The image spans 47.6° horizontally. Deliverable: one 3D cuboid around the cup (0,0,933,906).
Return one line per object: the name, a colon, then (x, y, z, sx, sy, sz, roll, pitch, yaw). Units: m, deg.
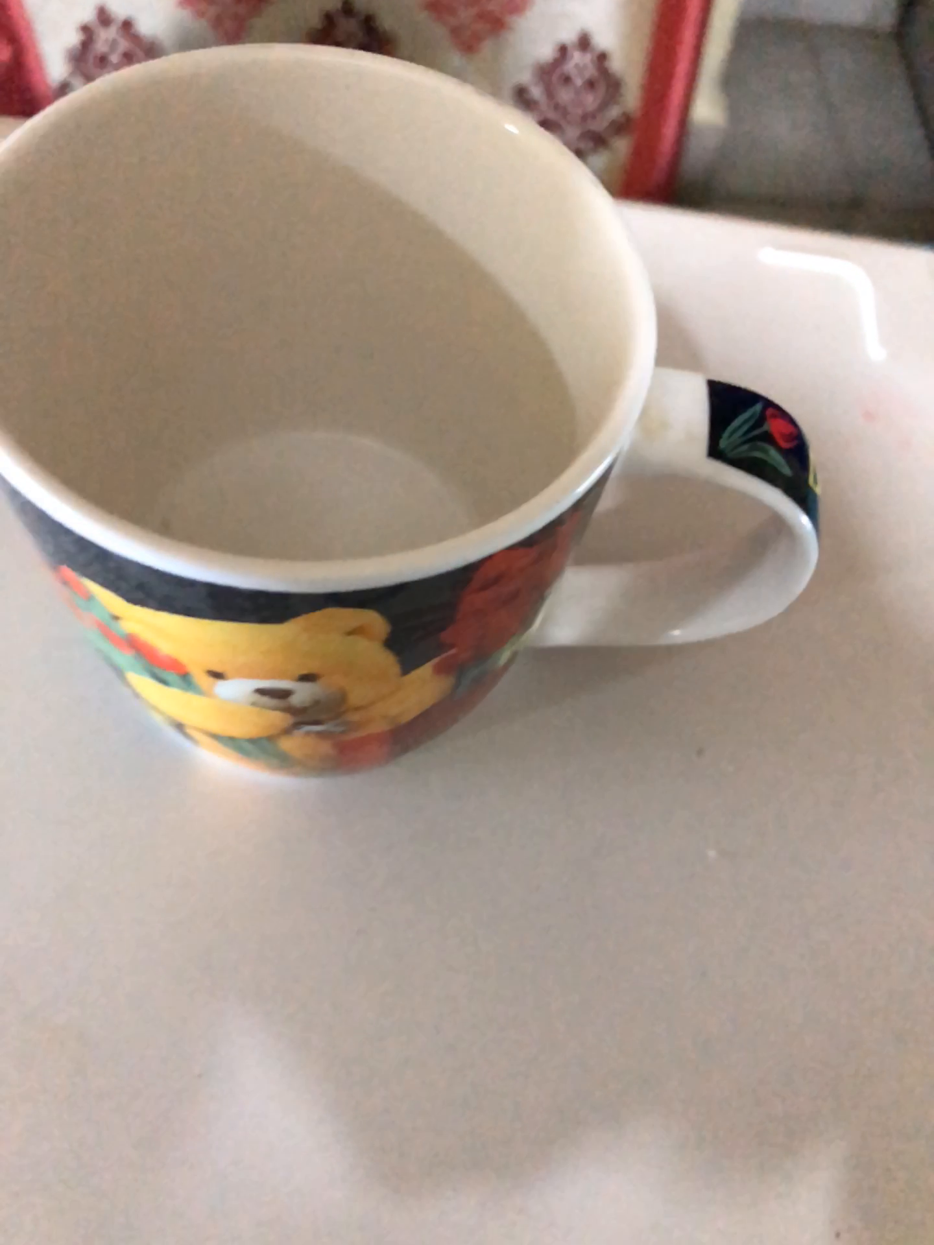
cup: (-0.002, -0.018, 0.166, 0.130, 0.099, 0.080, 9, 60, -1)
